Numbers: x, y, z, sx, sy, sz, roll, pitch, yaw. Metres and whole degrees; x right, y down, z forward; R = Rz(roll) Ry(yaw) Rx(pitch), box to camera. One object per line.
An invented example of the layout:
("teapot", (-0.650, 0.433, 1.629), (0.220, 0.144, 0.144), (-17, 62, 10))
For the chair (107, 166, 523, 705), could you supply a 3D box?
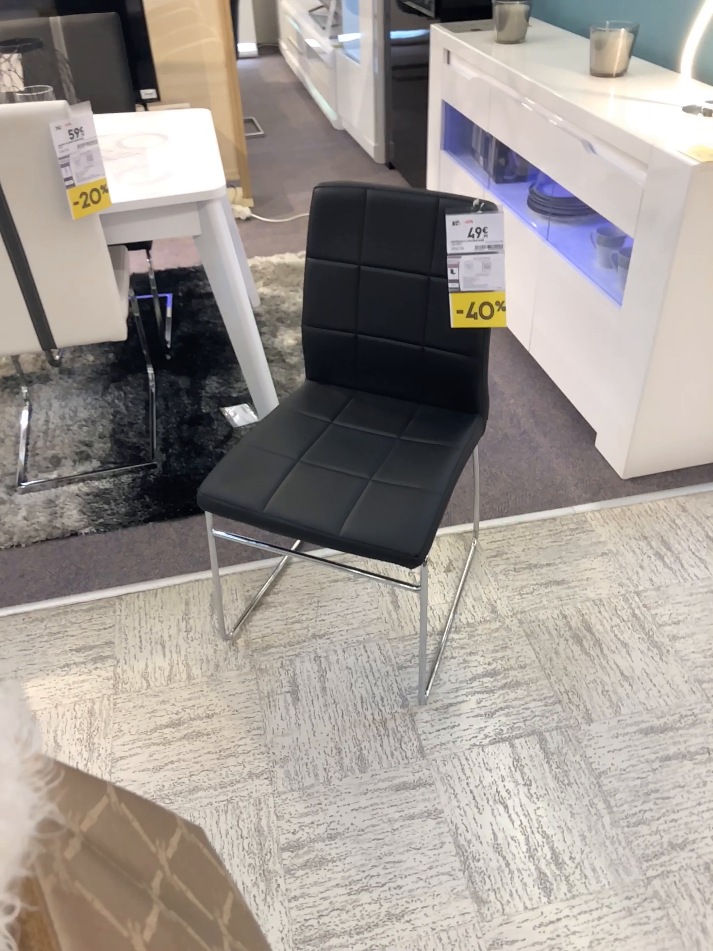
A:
("chair", (-0.022, -0.088, 1.540), (0.520, 0.825, 0.539), (12, 40, 17))
